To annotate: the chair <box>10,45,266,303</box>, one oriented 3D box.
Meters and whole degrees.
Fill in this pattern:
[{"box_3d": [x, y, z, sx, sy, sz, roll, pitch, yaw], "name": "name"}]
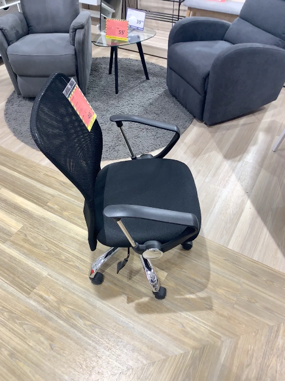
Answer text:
[{"box_3d": [-0.015, -0.032, 1.216, 0.600, 0.866, 0.643, 0, 46, -1], "name": "chair"}]
